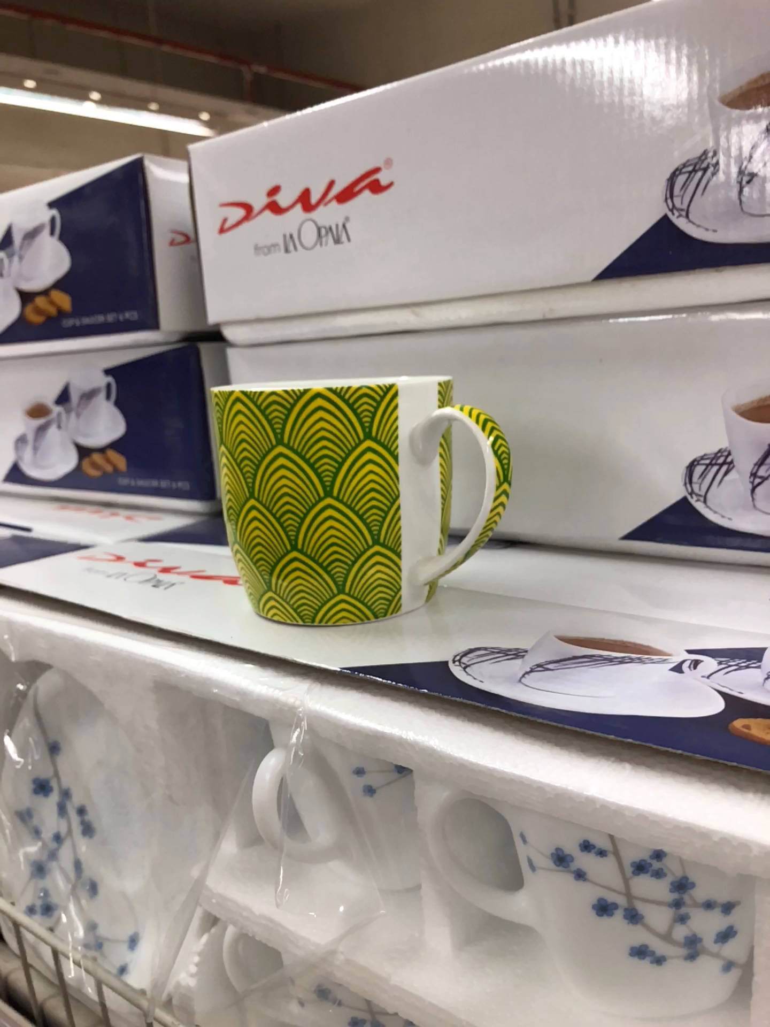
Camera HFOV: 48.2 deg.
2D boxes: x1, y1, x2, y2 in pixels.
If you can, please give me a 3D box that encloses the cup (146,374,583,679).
[{"bbox_3d":[-0.005,-0.004,0.304,0.120,0.080,0.090,3,12,34],"label":"cup"}]
